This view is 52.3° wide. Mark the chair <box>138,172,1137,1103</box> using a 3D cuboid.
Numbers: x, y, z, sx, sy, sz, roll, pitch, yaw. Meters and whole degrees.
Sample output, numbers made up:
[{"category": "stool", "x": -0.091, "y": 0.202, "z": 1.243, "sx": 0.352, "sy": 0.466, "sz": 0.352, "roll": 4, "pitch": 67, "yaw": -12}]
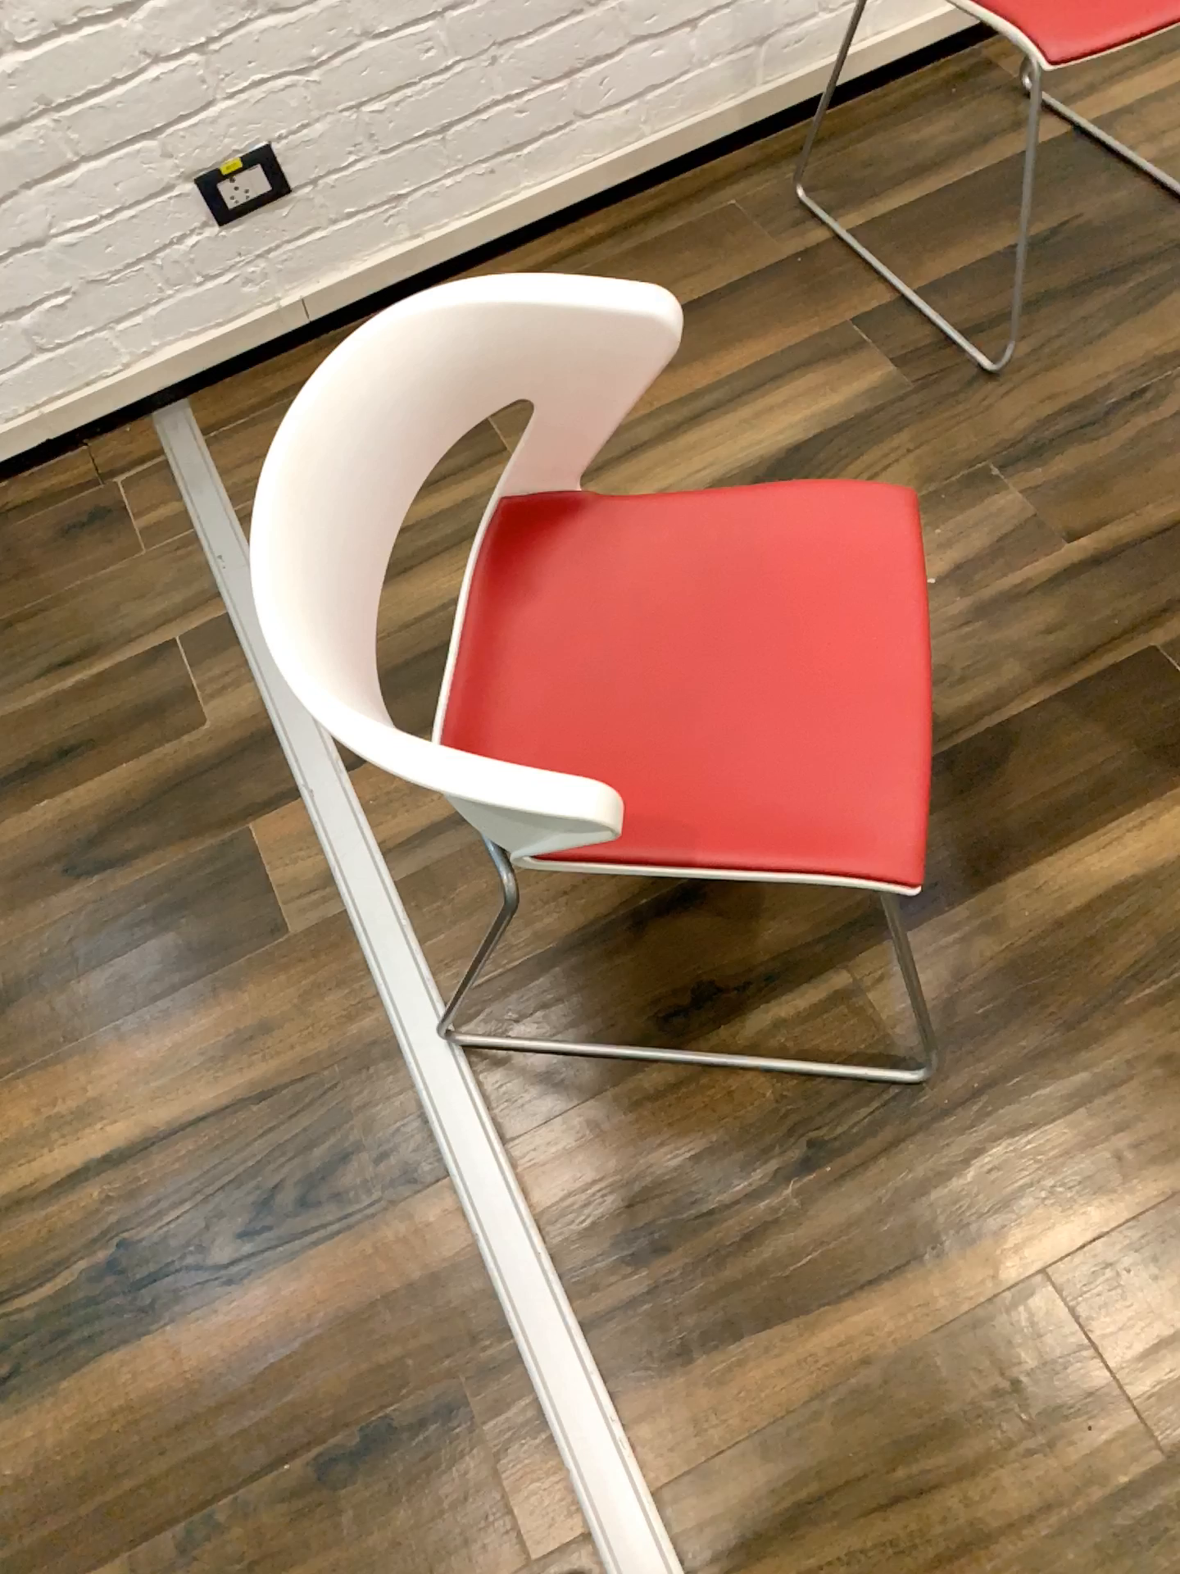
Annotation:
[{"category": "chair", "x": 0.086, "y": -0.100, "z": 1.198, "sx": 0.640, "sy": 0.676, "sz": 0.593, "roll": 2, "pitch": 60, "yaw": 10}]
